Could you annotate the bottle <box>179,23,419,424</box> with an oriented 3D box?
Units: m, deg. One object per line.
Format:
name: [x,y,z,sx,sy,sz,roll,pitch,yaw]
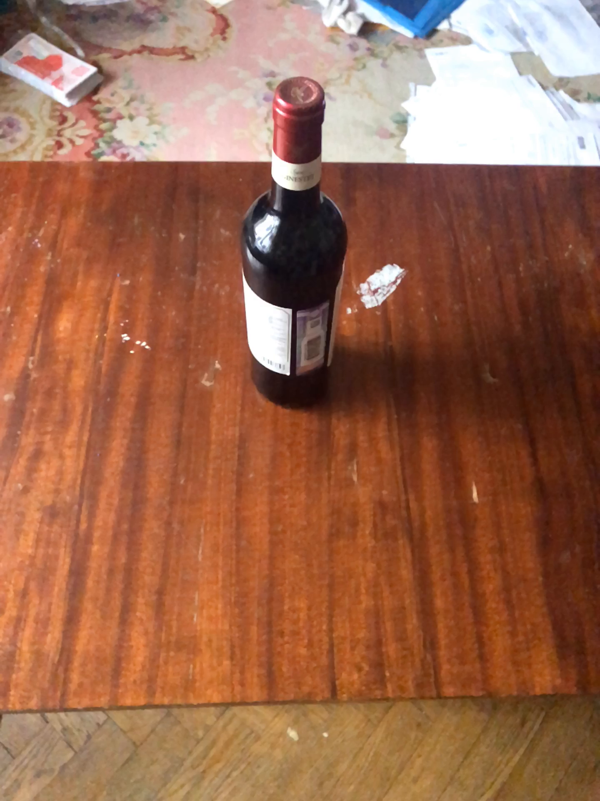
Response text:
bottle: [-0.004,-0.098,0.468,0.090,0.269,0.090,1,63,-1]
